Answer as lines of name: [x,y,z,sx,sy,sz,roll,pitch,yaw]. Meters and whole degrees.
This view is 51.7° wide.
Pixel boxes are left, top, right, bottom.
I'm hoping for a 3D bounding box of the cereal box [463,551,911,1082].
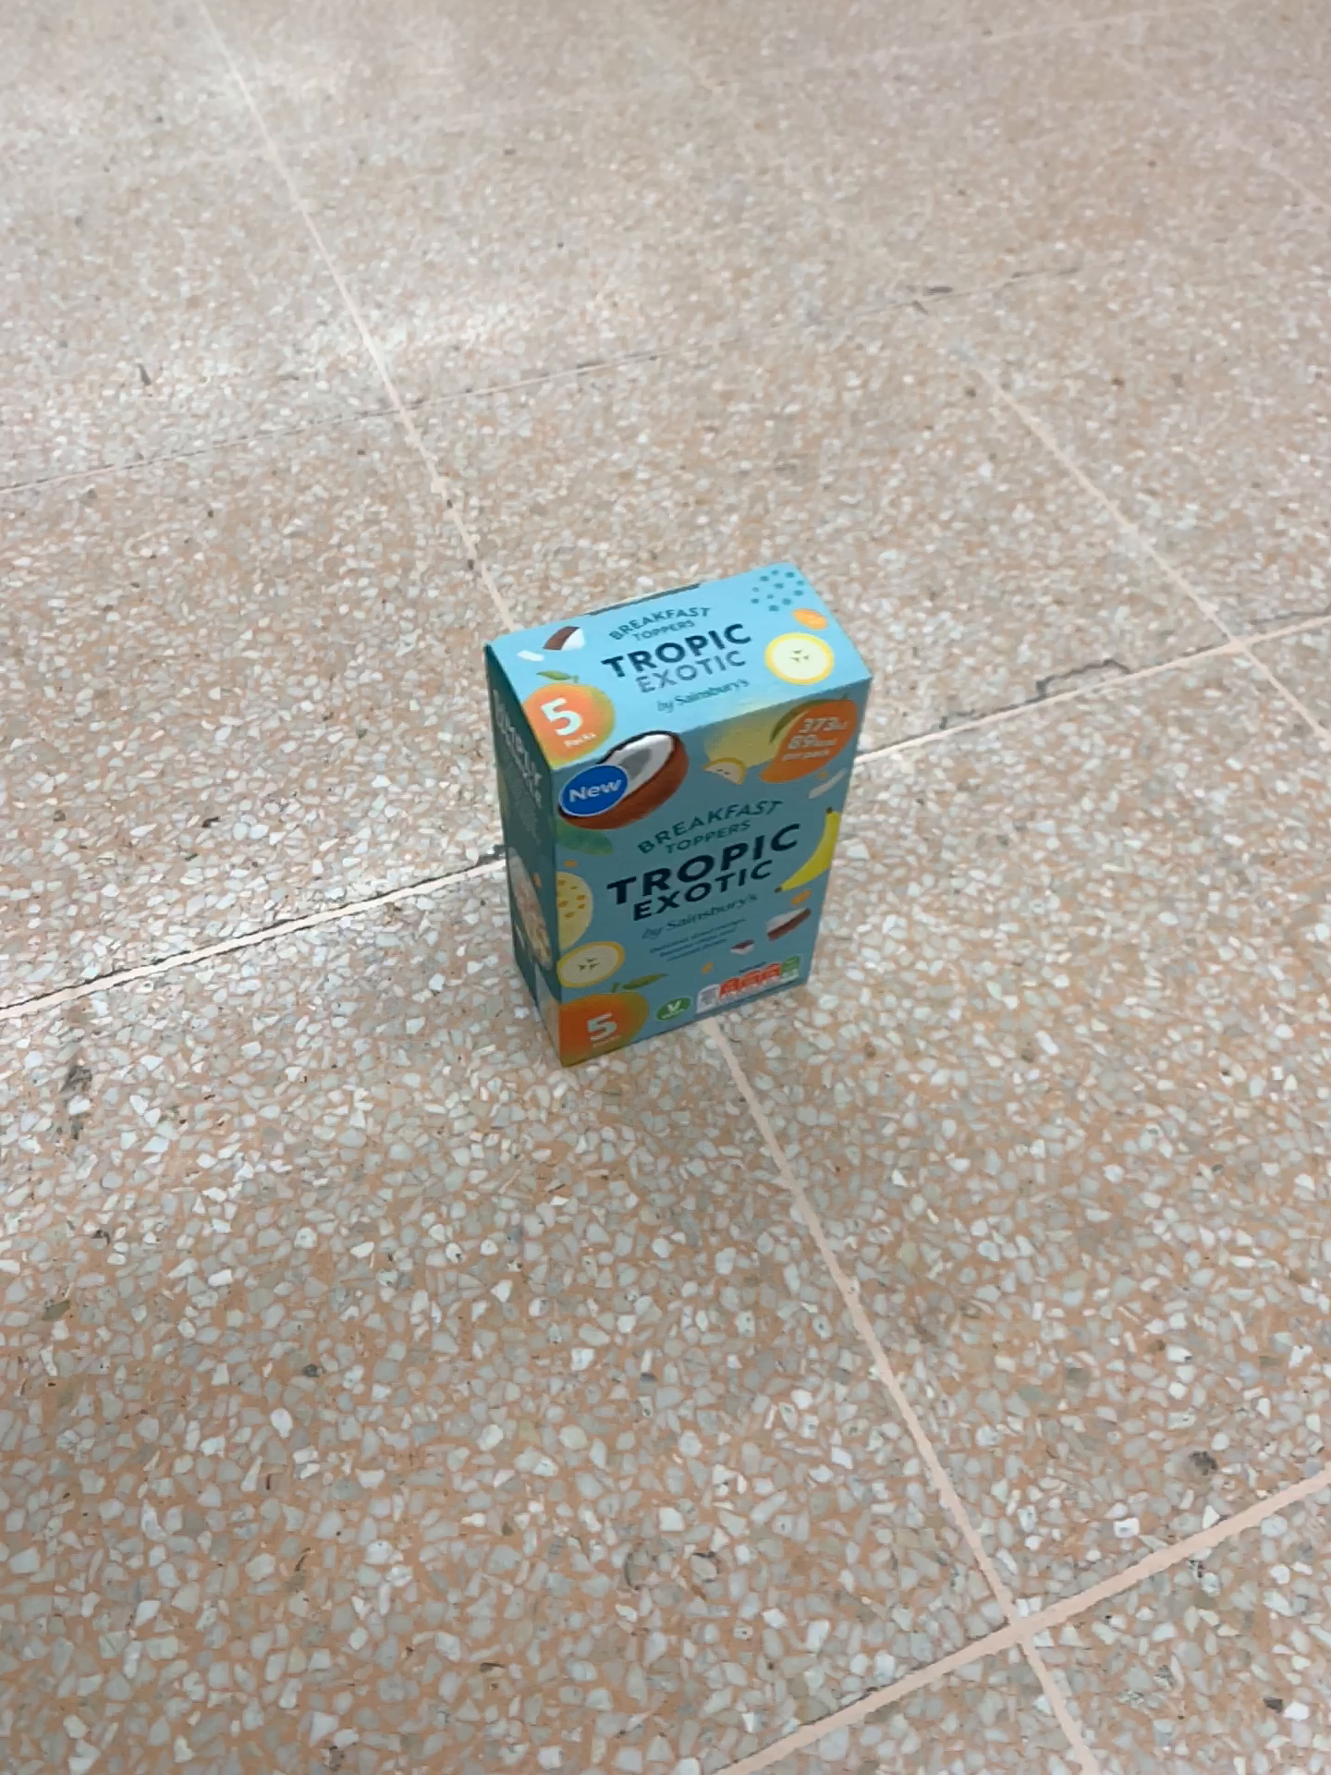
cereal box: [0.004,-0.017,0.442,0.110,0.149,0.060,-18,55,-15]
